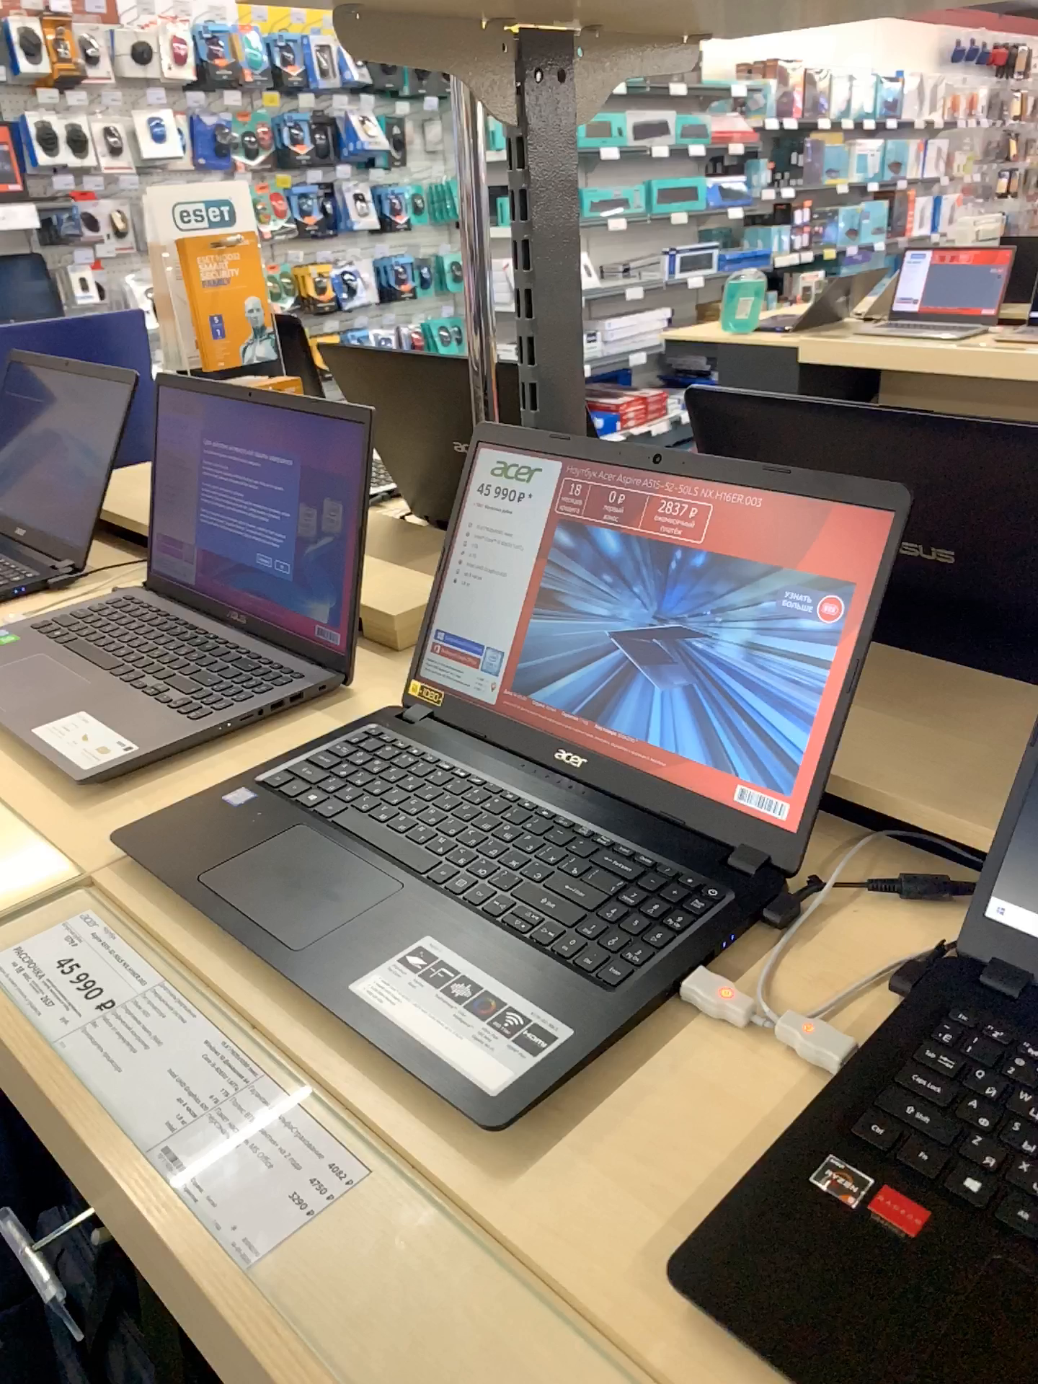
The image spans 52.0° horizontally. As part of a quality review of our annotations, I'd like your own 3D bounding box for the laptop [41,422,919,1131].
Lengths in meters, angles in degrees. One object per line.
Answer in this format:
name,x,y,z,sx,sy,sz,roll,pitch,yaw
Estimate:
laptop,-0.020,-0.012,0.665,0.369,0.208,0.365,20,34,41
